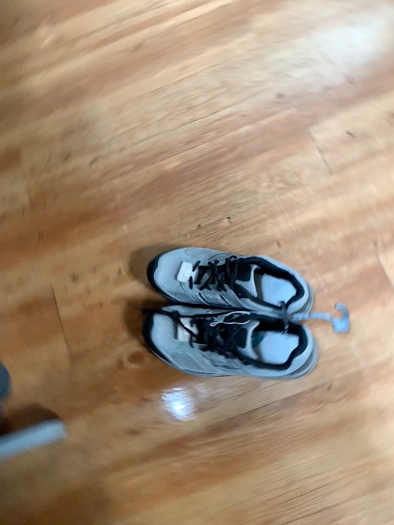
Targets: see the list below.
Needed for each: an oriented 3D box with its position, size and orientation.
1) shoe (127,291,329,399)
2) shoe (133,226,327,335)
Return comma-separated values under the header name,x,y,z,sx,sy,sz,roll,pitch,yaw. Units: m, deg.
name,x,y,z,sx,sy,sz,roll,pitch,yaw
shoe,0.053,0.141,0.696,0.309,0.099,0.123,7,75,11
shoe,0.058,0.032,0.724,0.308,0.089,0.117,12,76,12
